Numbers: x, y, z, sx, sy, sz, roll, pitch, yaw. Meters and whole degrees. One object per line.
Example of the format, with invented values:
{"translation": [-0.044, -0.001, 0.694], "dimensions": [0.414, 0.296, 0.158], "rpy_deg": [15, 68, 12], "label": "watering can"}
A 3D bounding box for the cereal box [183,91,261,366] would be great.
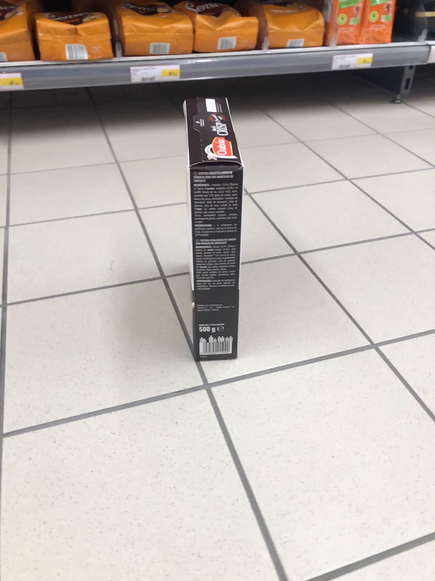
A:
{"translation": [-0.004, -0.072, 0.526], "dimensions": [0.060, 0.229, 0.201], "rpy_deg": [-2, 37, -4], "label": "cereal box"}
